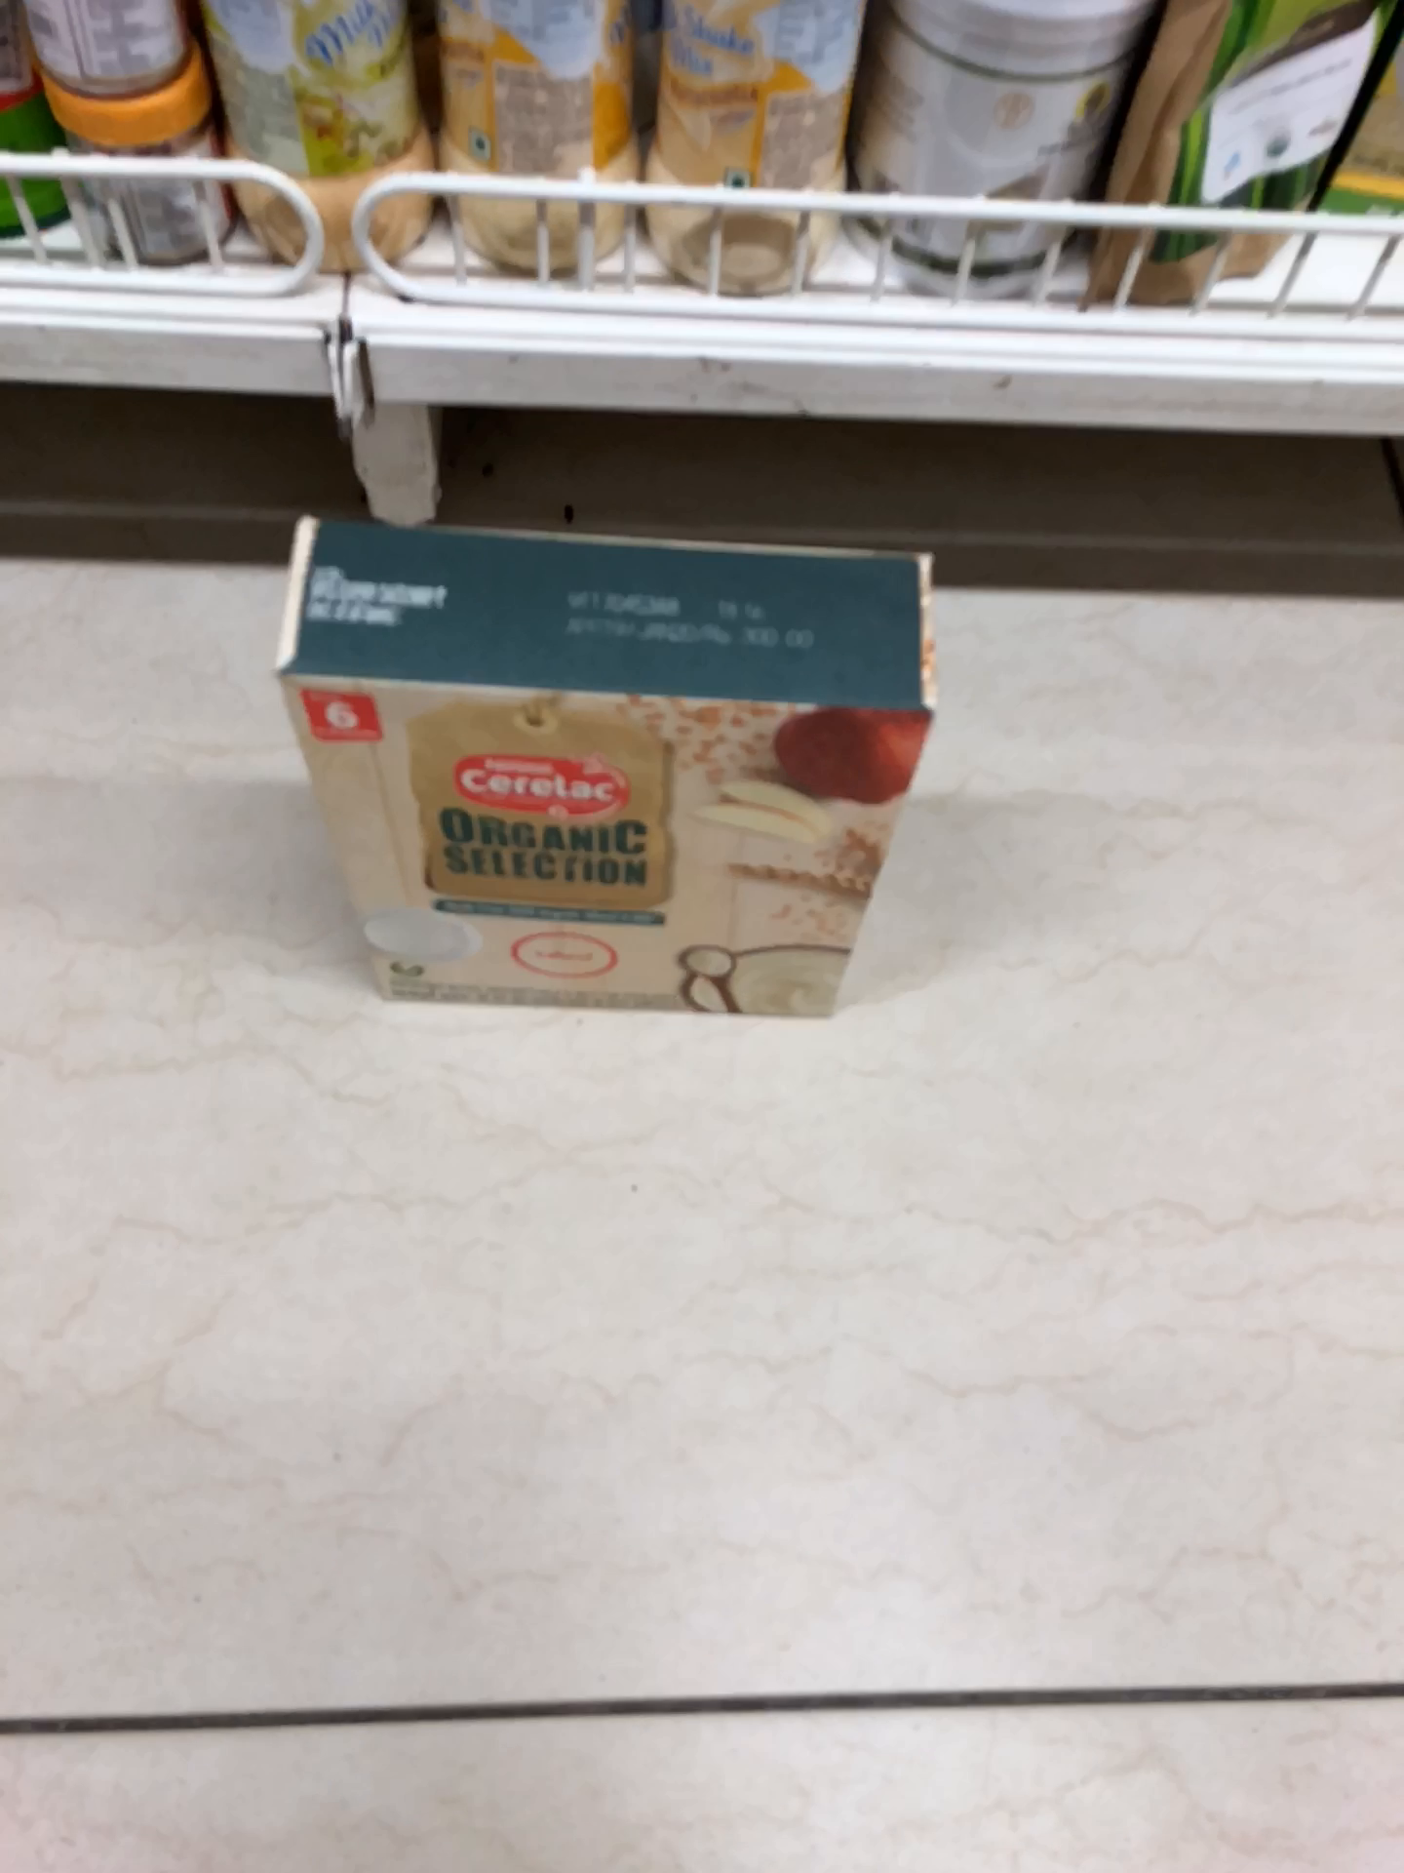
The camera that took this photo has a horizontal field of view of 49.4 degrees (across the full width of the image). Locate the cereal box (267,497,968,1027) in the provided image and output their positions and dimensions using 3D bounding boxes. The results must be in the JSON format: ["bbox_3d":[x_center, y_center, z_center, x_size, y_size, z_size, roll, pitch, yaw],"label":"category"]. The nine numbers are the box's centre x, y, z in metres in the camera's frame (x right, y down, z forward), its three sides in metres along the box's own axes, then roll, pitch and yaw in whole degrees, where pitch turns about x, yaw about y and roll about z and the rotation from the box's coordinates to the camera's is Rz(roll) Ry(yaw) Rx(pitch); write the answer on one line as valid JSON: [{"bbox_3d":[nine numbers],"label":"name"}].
[{"bbox_3d":[-0.024,-0.037,0.445,0.160,0.189,0.050,2,63,-3],"label":"cereal box"}]
